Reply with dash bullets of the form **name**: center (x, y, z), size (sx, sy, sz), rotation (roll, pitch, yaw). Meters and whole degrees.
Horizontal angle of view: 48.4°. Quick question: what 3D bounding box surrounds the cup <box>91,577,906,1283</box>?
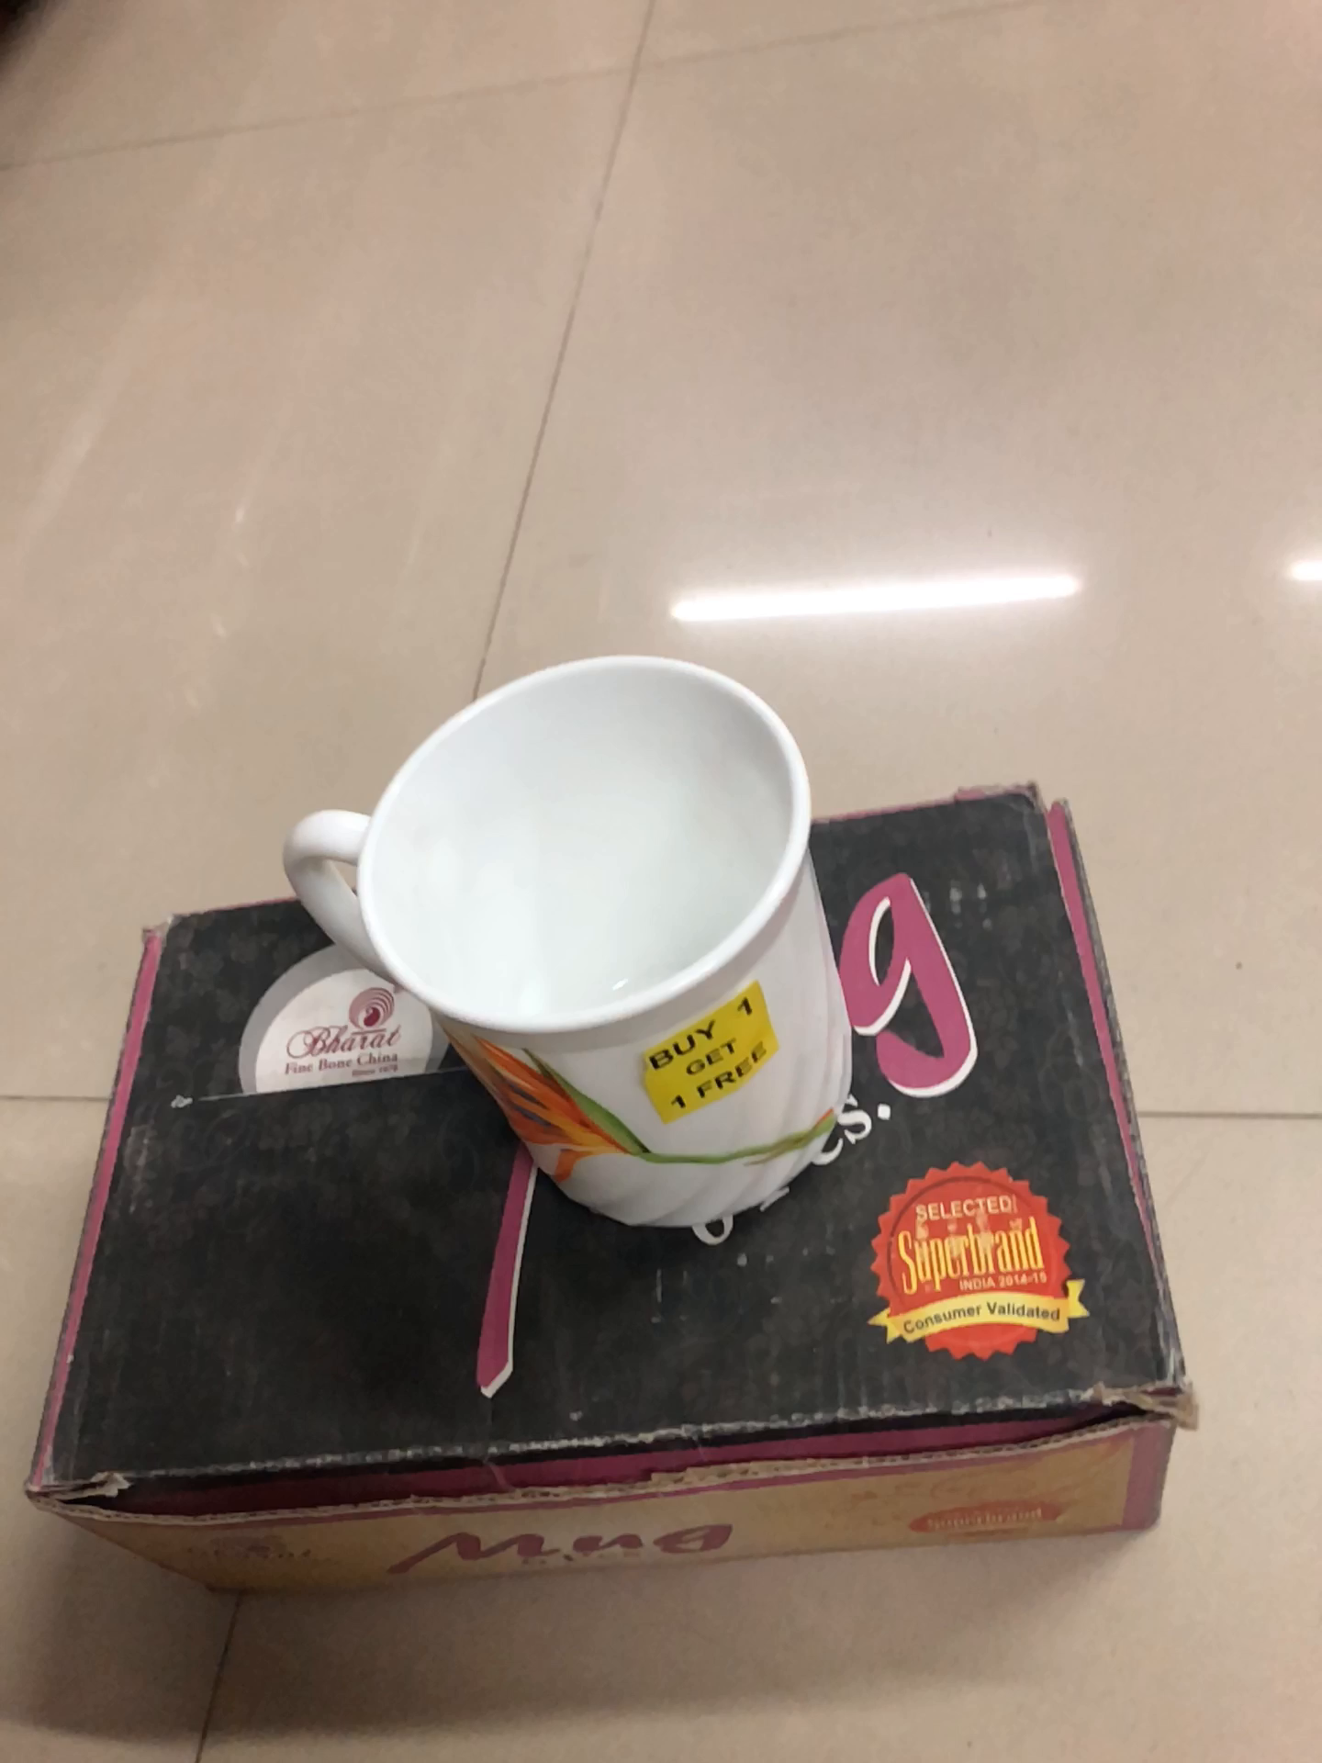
- **cup**: center (-0.021, 0.008, 0.278), size (0.110, 0.090, 0.080), rotation (9, 57, 21)
